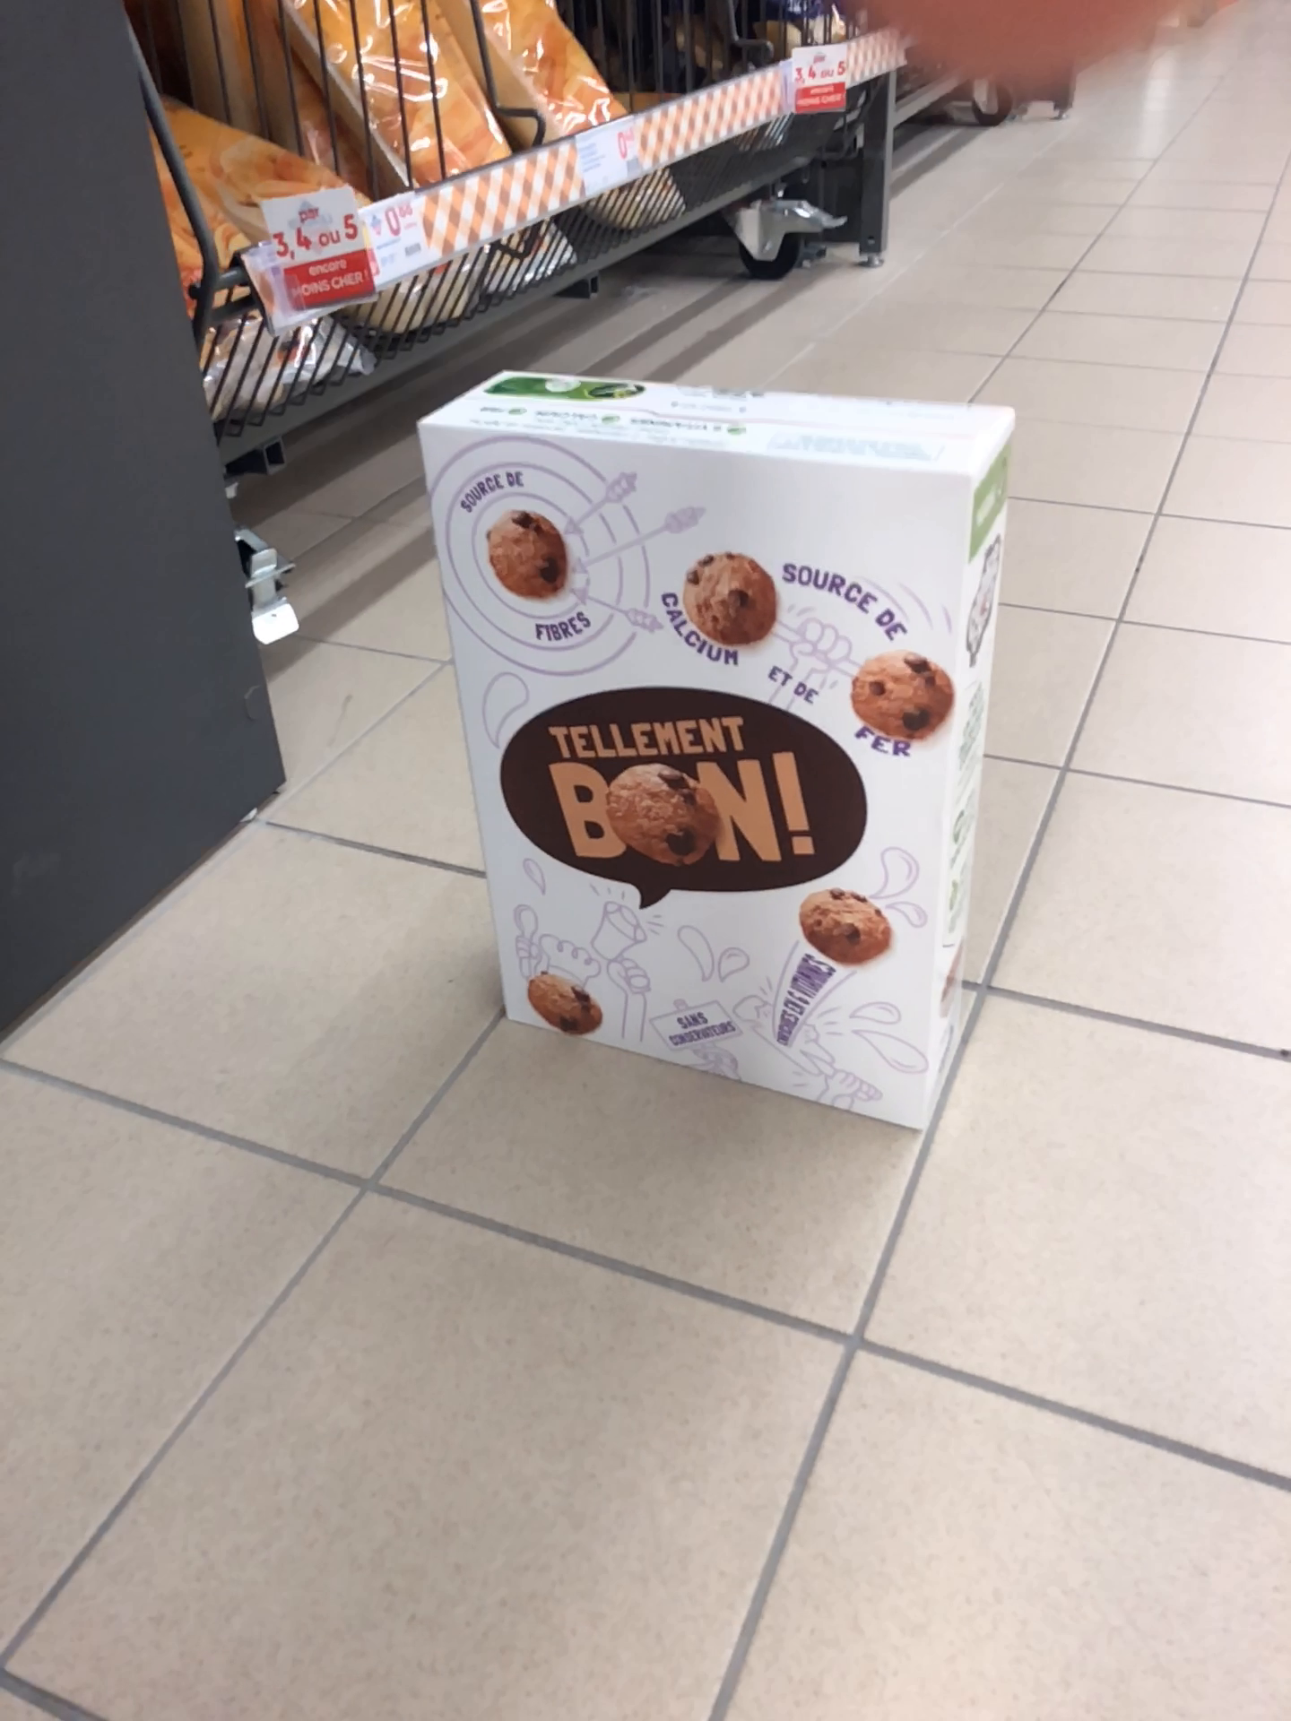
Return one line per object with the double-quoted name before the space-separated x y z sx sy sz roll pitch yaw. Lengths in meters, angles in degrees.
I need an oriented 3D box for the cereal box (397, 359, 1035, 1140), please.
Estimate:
"cereal box" 0.025 -0.037 0.536 0.200 0.268 0.060 12 37 20
